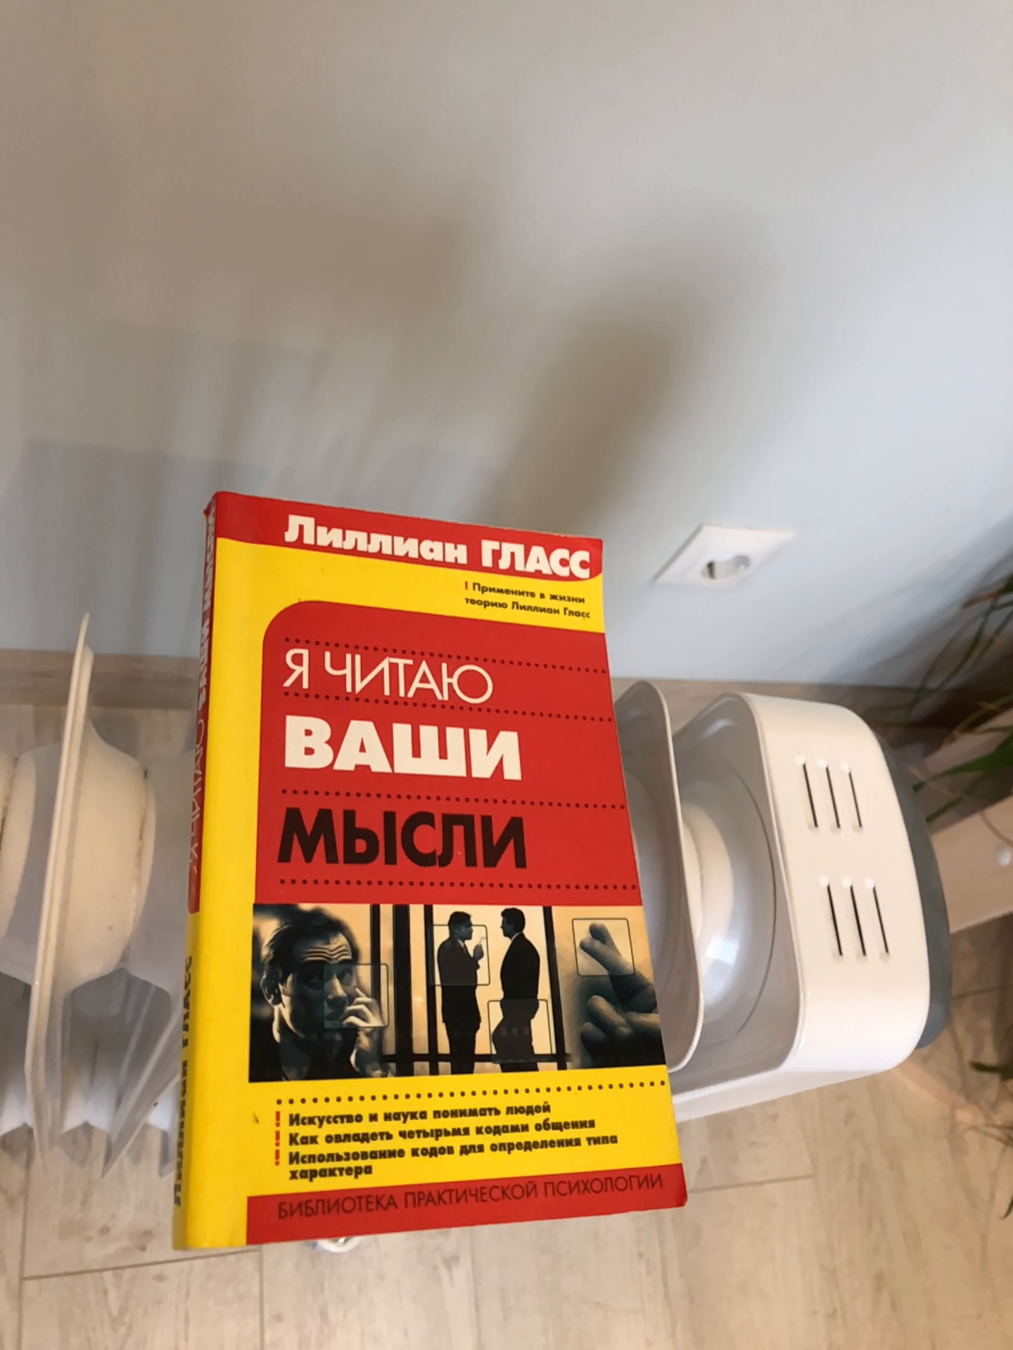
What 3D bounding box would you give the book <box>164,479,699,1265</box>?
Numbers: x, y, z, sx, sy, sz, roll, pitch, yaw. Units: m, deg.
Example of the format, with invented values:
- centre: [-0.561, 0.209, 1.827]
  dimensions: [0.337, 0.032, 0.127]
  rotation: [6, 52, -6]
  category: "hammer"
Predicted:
- centre: [-0.023, 0.043, 0.316]
  dimensions: [0.128, 0.020, 0.207]
  rotation: [4, 62, -19]
  category: "book"
